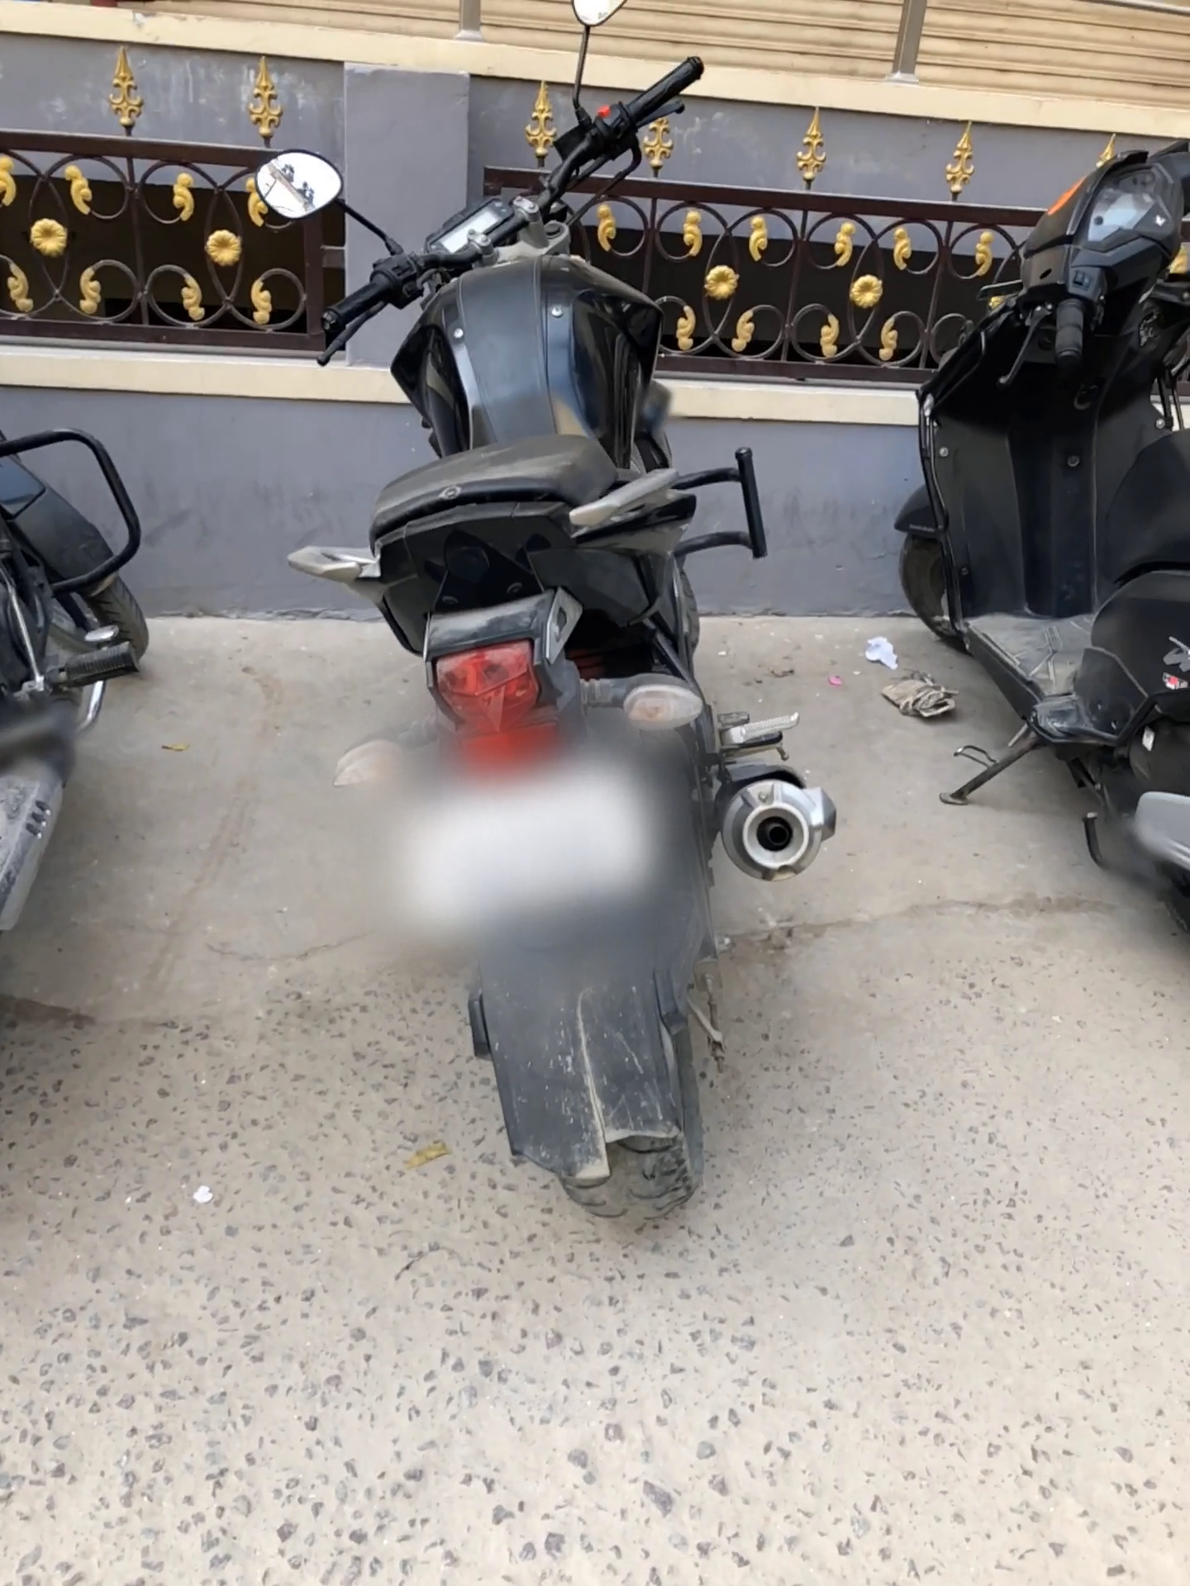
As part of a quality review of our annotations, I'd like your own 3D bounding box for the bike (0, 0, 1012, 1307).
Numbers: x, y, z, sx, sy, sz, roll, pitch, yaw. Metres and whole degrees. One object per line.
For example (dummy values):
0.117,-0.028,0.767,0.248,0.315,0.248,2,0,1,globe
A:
-0.228,-0.431,1.894,0.692,1.197,1.767,1,30,-8,bike
